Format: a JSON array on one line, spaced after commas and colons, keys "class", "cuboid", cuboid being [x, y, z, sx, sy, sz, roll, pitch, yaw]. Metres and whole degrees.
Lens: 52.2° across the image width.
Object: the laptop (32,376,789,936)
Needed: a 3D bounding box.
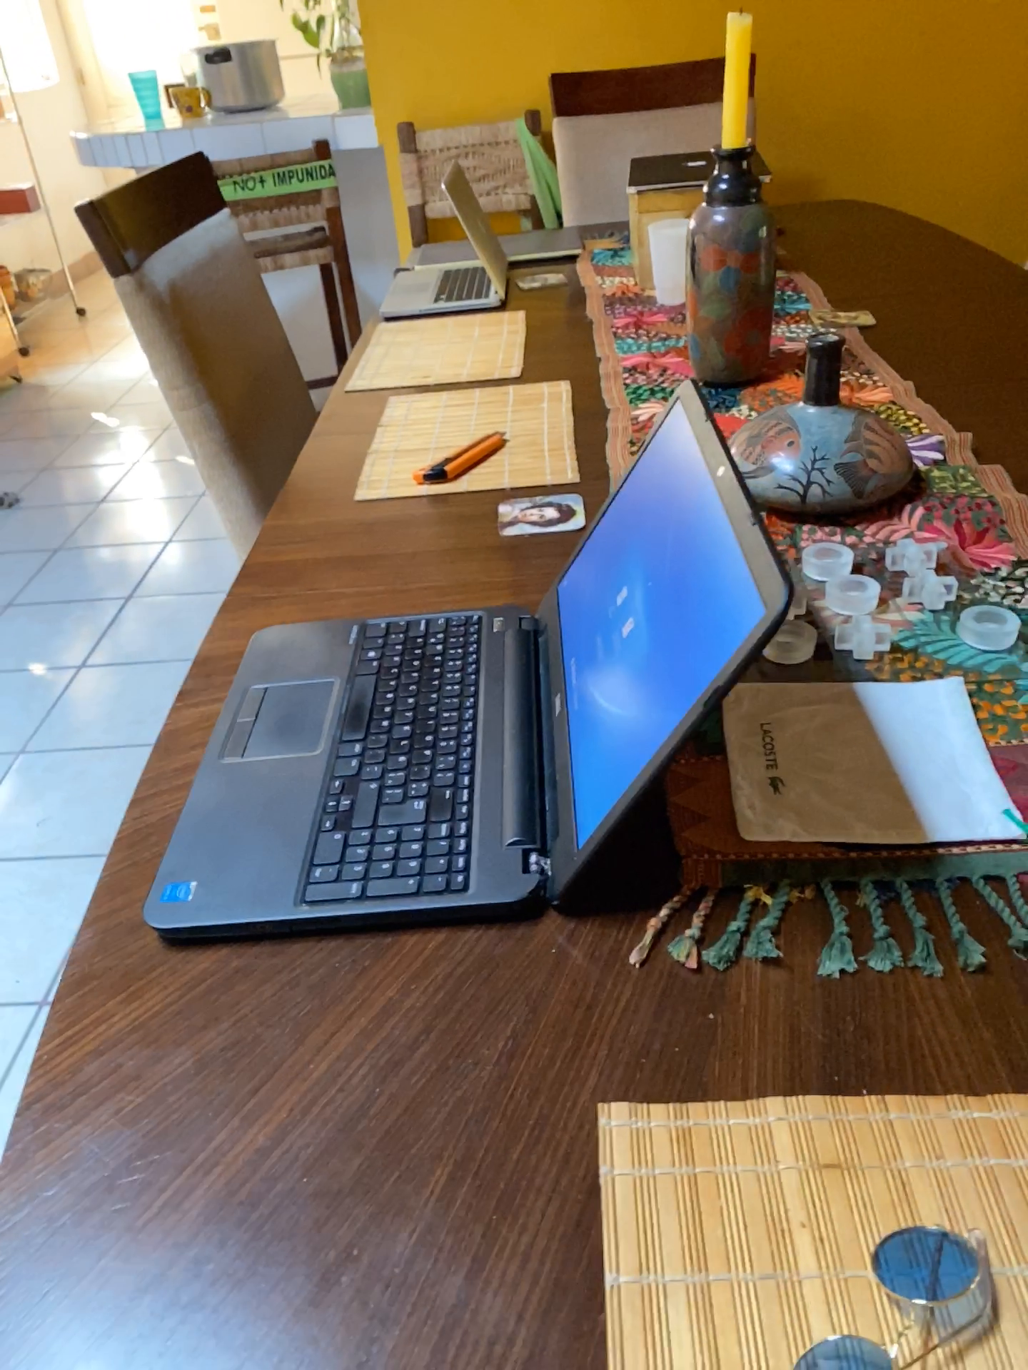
[{"class": "laptop", "cuboid": [-0.050, -0.045, 0.748, 0.395, 0.194, 0.369, -5, 34, 3]}]
